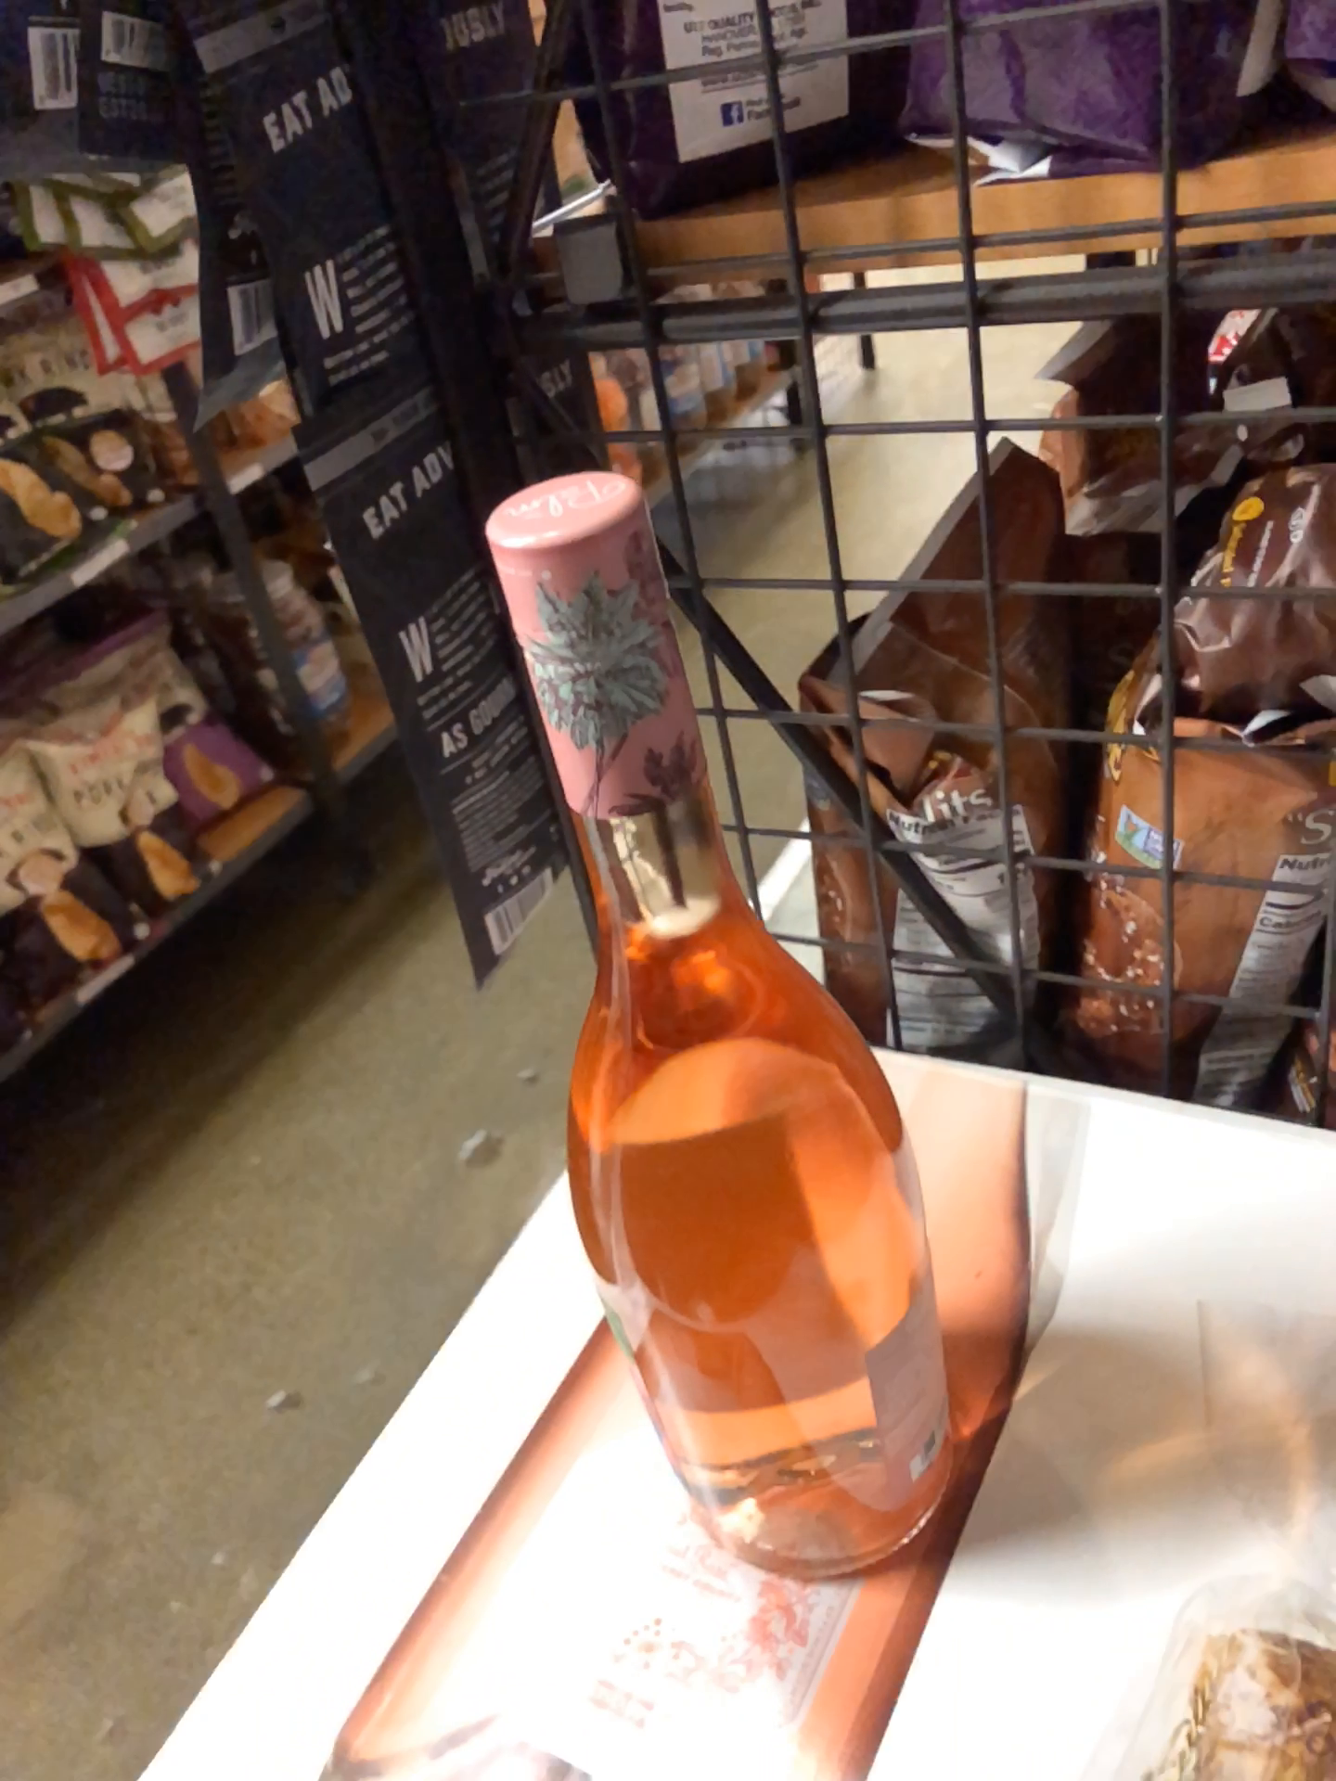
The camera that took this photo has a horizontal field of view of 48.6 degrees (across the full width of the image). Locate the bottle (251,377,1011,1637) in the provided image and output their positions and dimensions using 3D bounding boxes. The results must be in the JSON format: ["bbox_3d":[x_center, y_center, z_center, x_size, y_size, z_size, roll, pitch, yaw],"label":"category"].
[{"bbox_3d":[0.013,0.040,0.344,0.090,0.285,0.087,-9,34,6],"label":"bottle"}]
